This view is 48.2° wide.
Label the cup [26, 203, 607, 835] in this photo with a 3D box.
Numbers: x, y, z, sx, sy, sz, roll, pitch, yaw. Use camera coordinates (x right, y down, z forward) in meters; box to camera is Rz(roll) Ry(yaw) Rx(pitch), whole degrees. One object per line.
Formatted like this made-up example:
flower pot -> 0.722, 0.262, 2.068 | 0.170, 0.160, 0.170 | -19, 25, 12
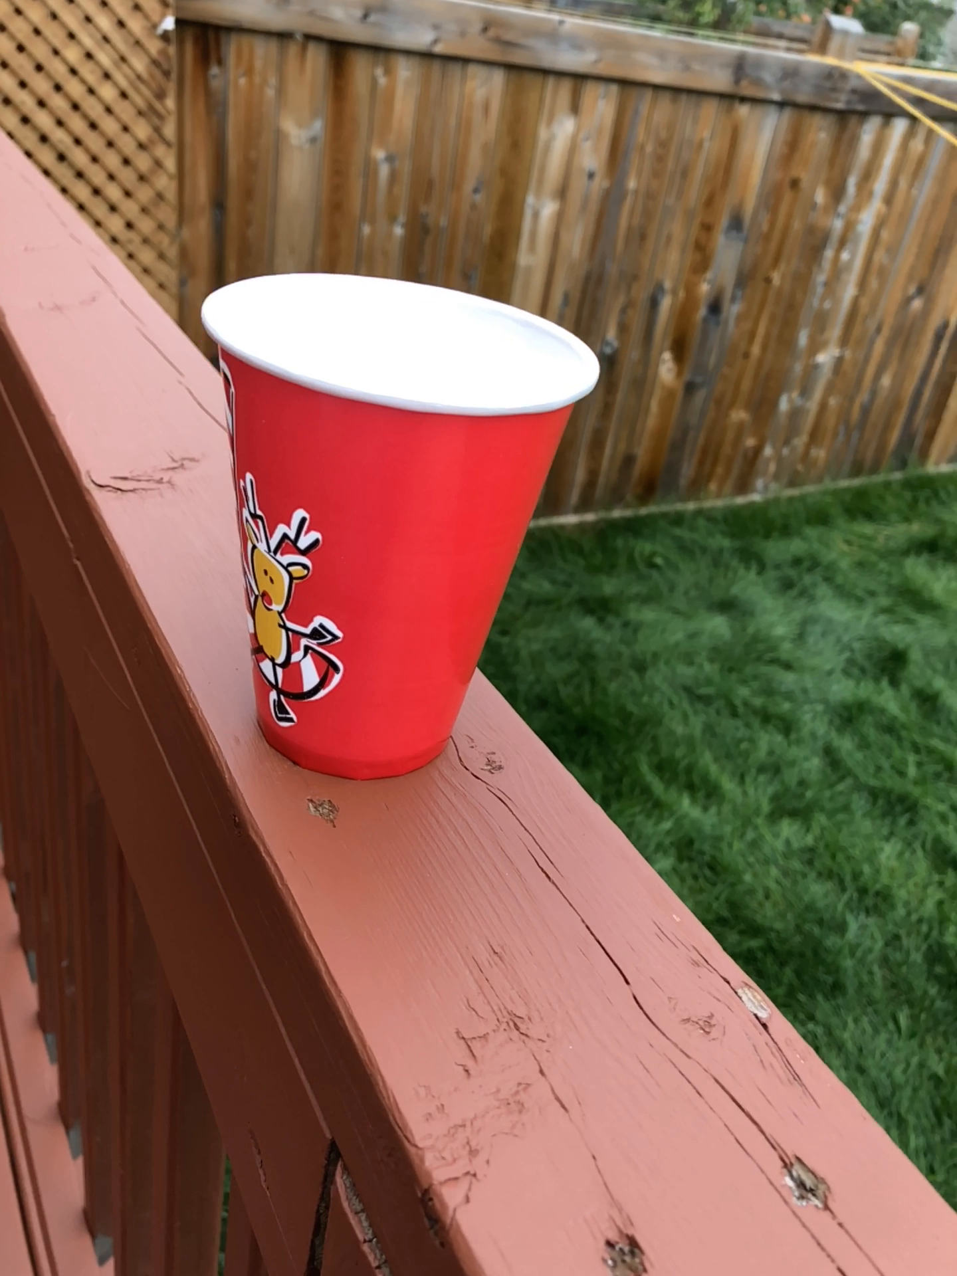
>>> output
cup -> -0.038, -0.033, 0.233 | 0.080, 0.100, 0.080 | 7, 31, -4
